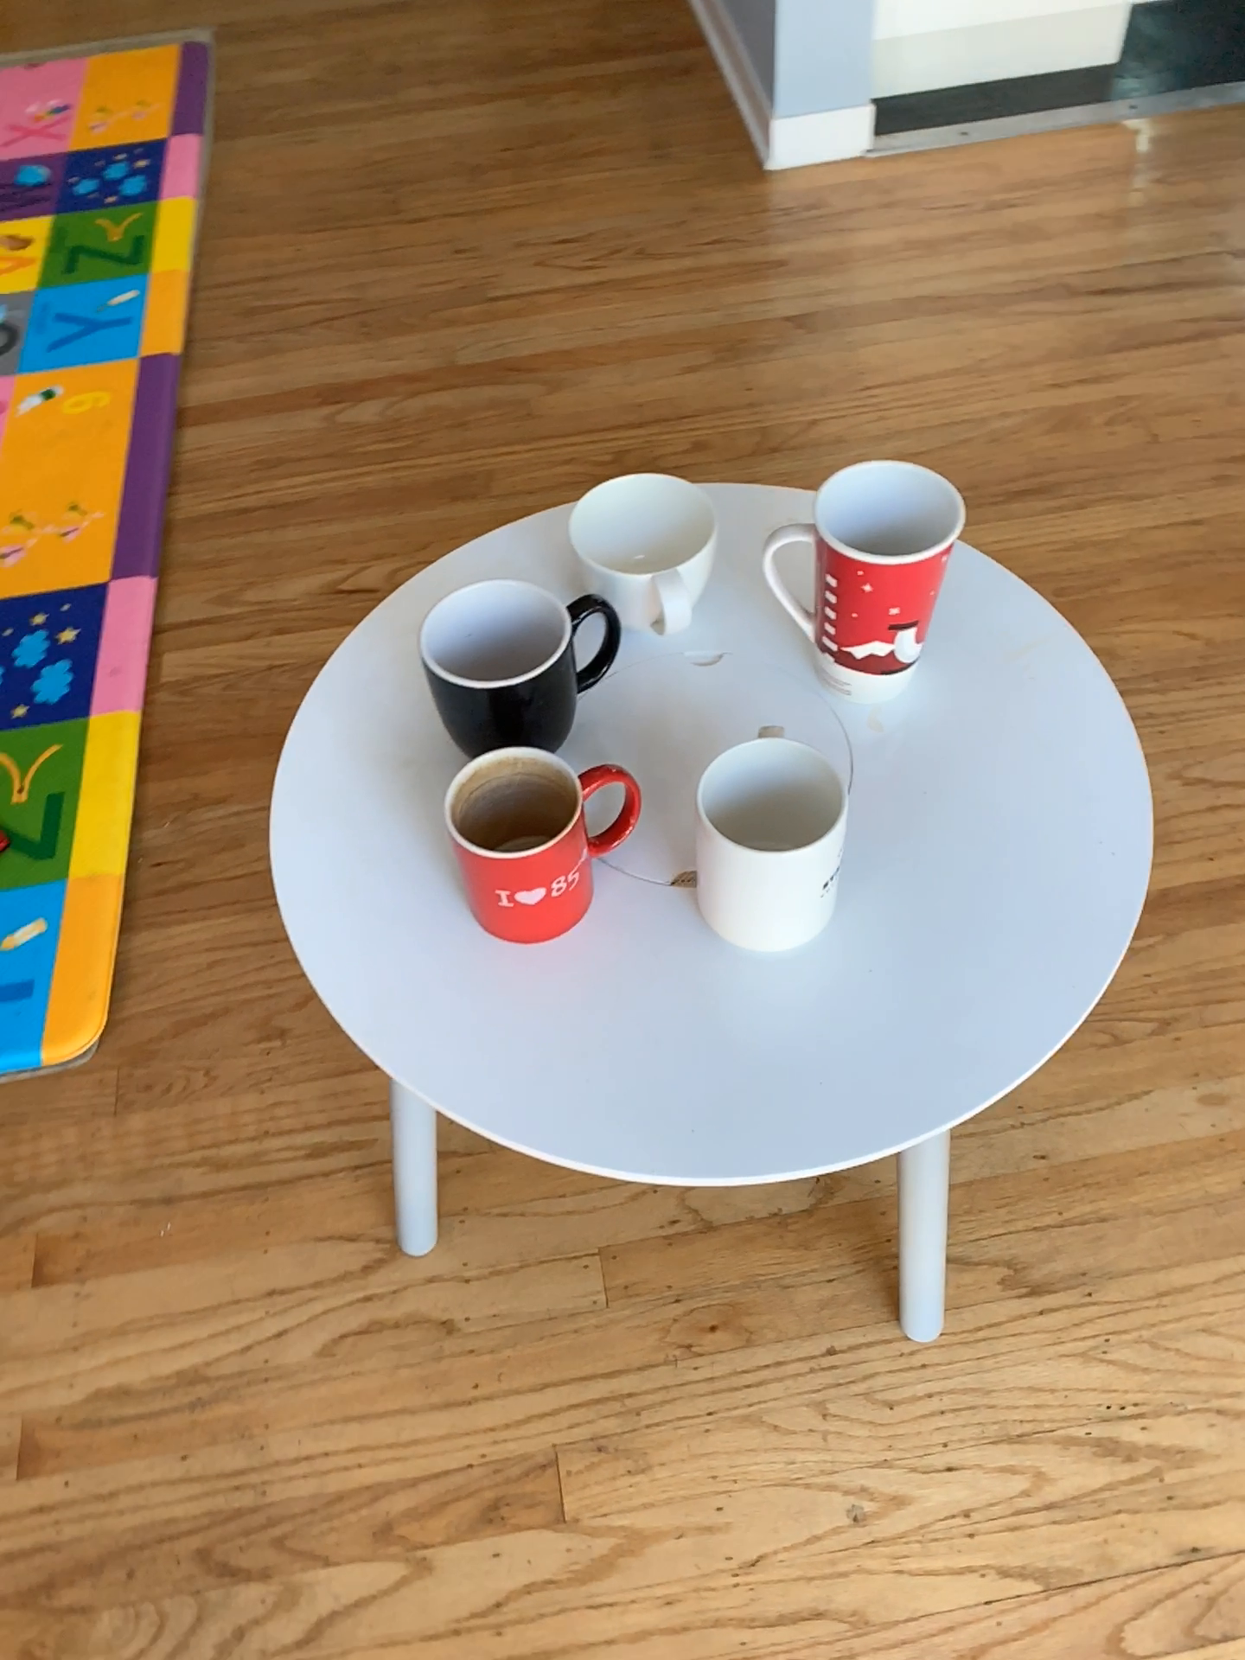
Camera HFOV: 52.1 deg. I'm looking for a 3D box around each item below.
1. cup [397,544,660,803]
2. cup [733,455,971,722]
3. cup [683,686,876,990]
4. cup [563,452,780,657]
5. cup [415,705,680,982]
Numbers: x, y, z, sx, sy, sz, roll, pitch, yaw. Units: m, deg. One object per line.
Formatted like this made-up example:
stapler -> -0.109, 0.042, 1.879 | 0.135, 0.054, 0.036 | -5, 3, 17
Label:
cup -> -0.057, -0.099, 0.797 | 0.130, 0.080, 0.090 | -26, 57, -14
cup -> 0.146, -0.156, 0.826 | 0.130, 0.120, 0.100 | 9, 55, 10
cup -> 0.089, 0.004, 0.726 | 0.090, 0.100, 0.130 | 6, 55, 8
cup -> 0.030, -0.181, 0.829 | 0.100, 0.040, 0.120 | -19, 55, -10
cup -> -0.040, 0.008, 0.729 | 0.120, 0.090, 0.080 | -26, 57, -14
